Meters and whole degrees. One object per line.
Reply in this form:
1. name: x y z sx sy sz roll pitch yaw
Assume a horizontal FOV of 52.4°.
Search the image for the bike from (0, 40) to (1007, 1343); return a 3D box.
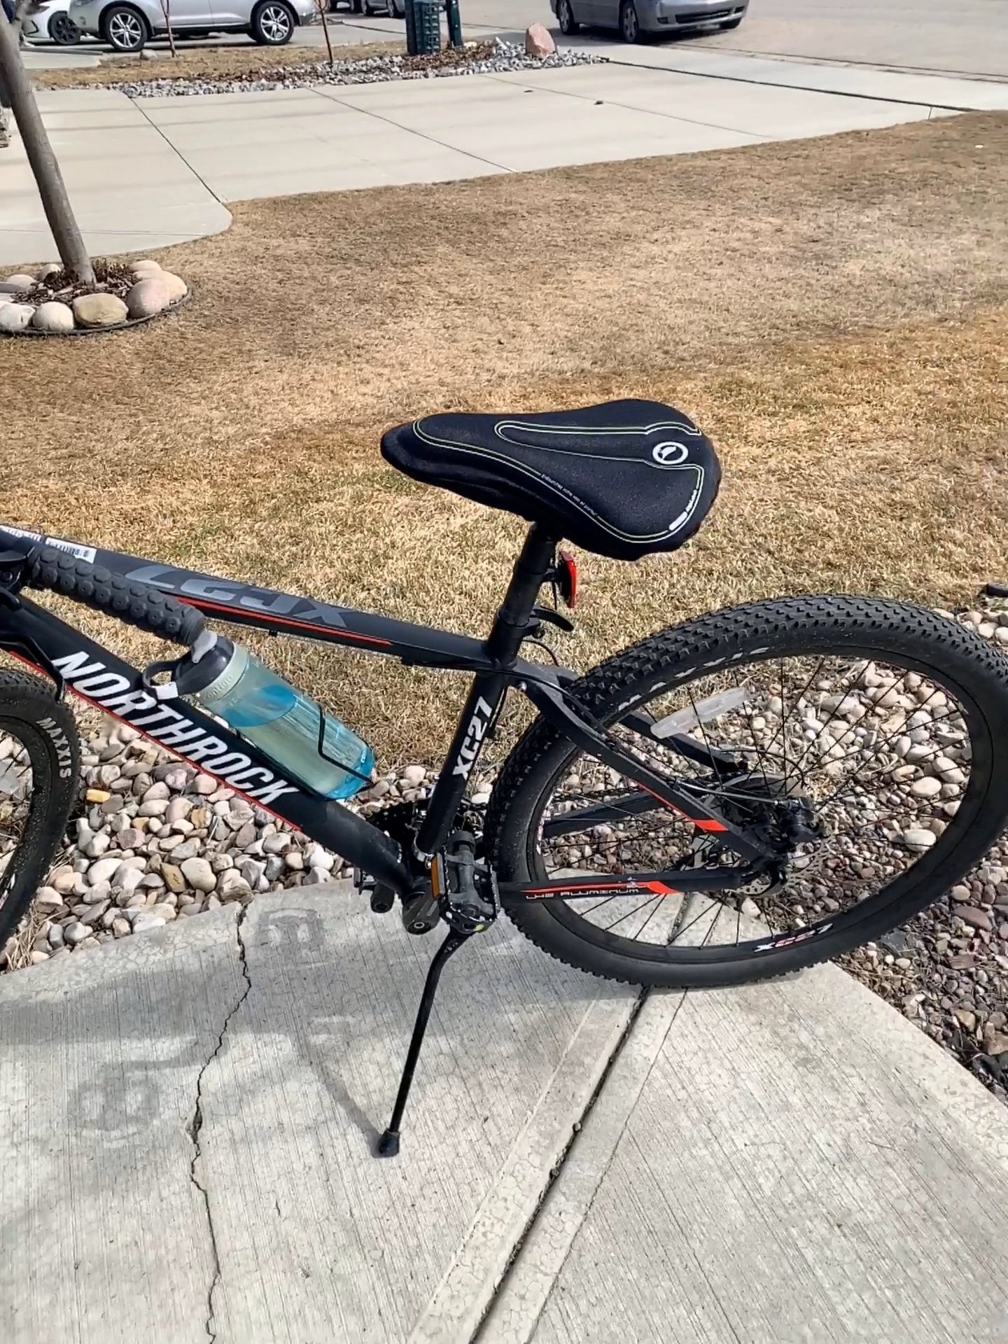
1. bike: -0.176 0.155 0.964 1.479 1.004 0.603 -13 36 -6
